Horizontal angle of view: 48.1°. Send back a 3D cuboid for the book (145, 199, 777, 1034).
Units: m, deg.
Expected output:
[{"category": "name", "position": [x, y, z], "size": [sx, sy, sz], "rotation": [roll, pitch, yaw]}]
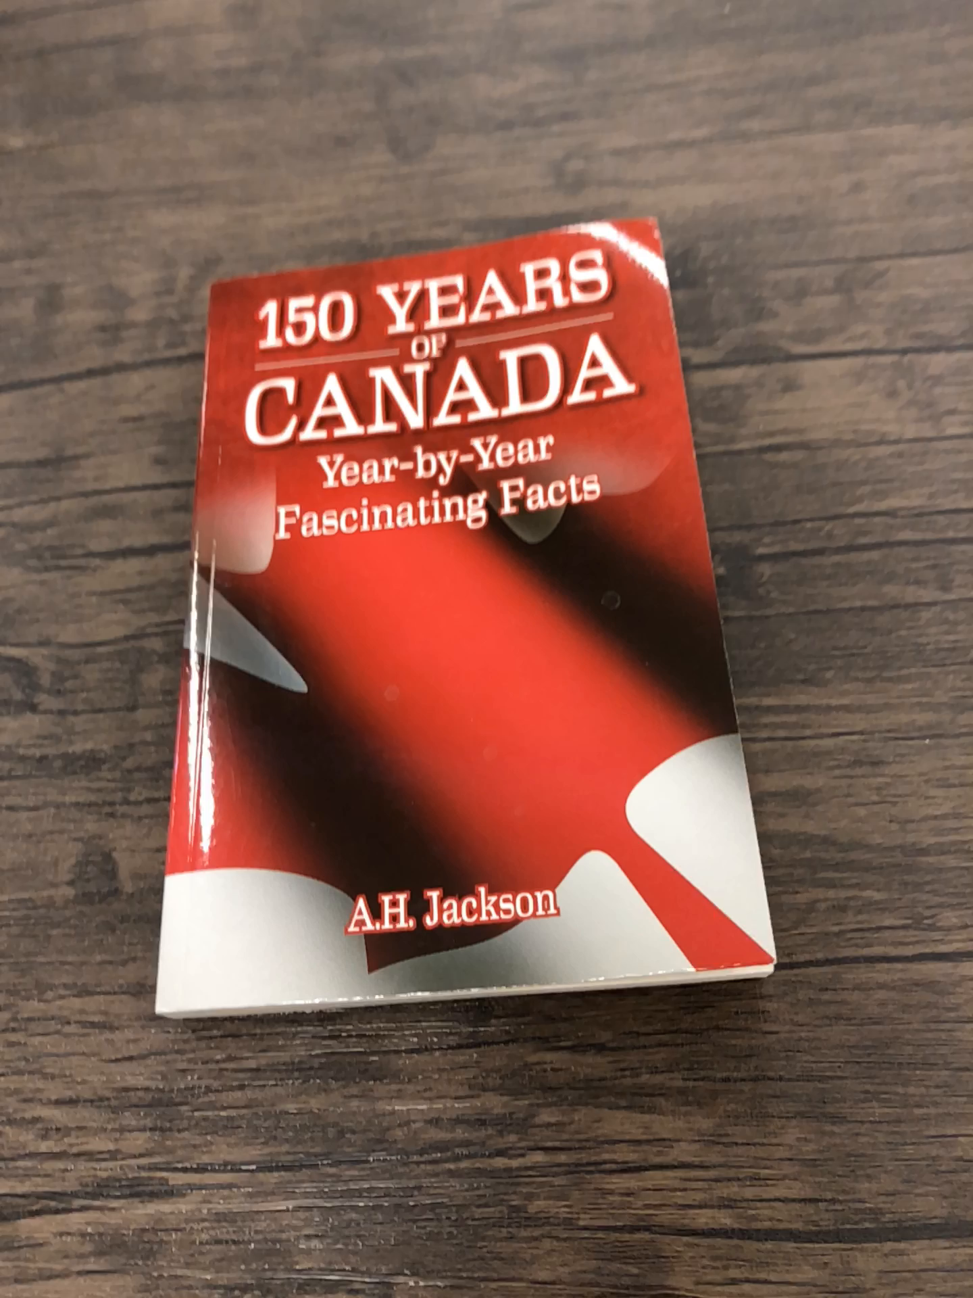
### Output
[{"category": "book", "position": [-0.011, -0.018, 0.276], "size": [0.130, 0.025, 0.206], "rotation": [-8, 63, 9]}]
